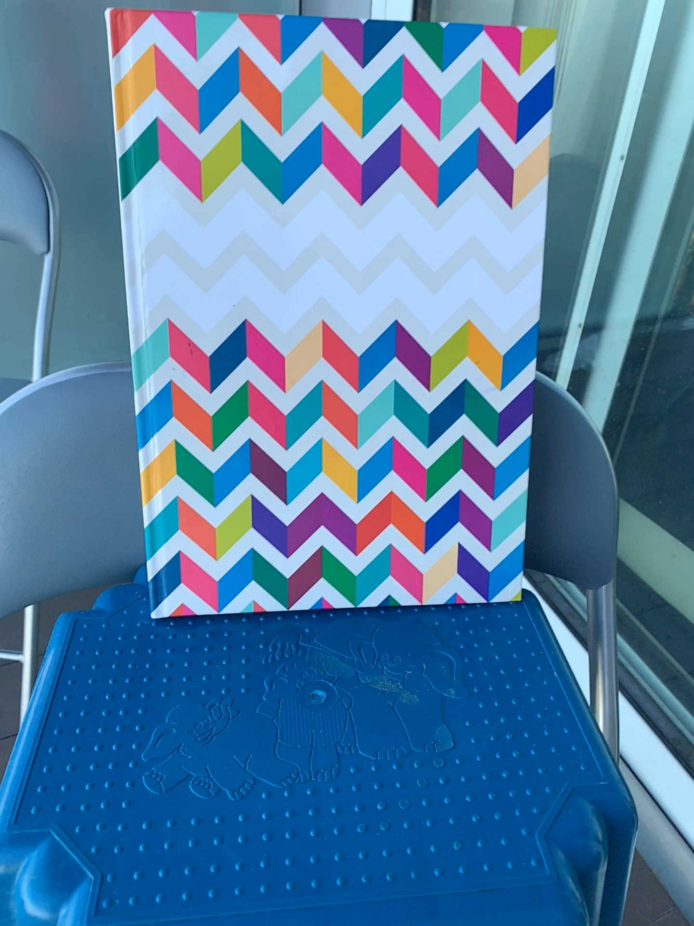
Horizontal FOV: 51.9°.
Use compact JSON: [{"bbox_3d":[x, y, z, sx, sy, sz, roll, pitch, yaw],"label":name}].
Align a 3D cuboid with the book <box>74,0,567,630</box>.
[{"bbox_3d":[-0.008,-0.064,0.352,0.211,0.289,0.030,-2,13,-6],"label":"book"}]
